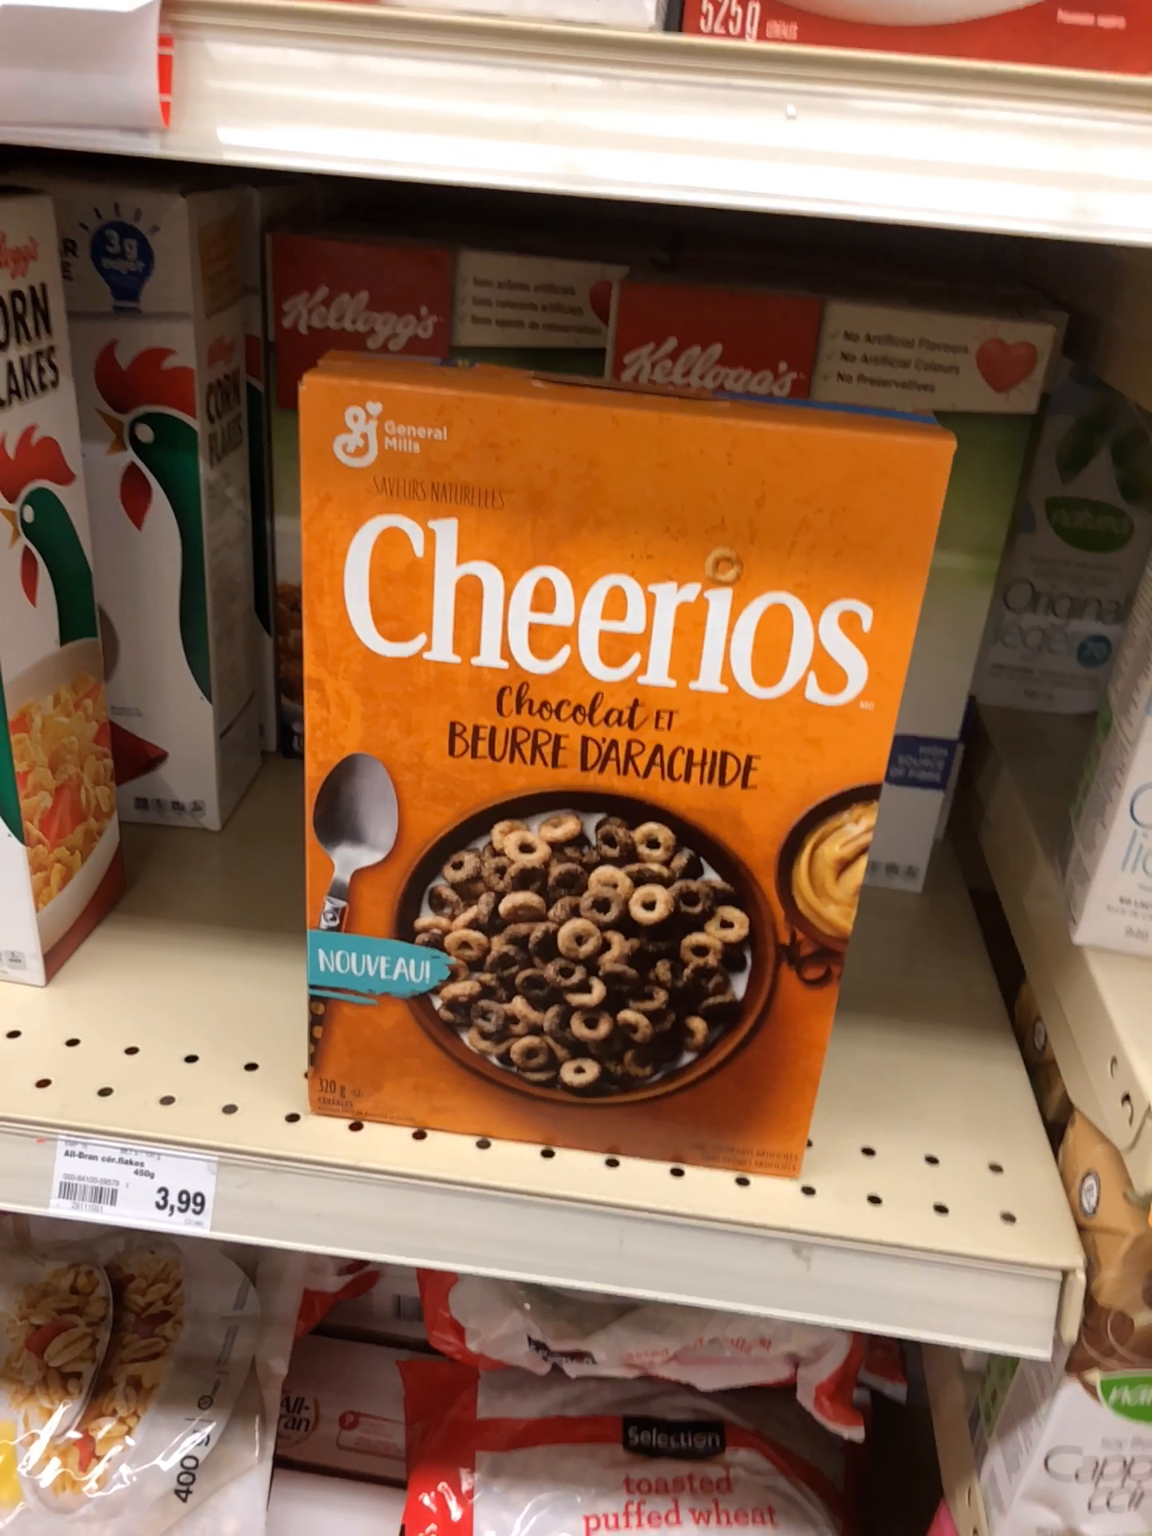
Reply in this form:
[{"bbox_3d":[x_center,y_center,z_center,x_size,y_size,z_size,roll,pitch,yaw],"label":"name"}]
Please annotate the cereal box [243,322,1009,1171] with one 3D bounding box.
[{"bbox_3d":[0.004,0.003,0.430,0.210,0.268,0.050,7,28,4],"label":"cereal box"}]
